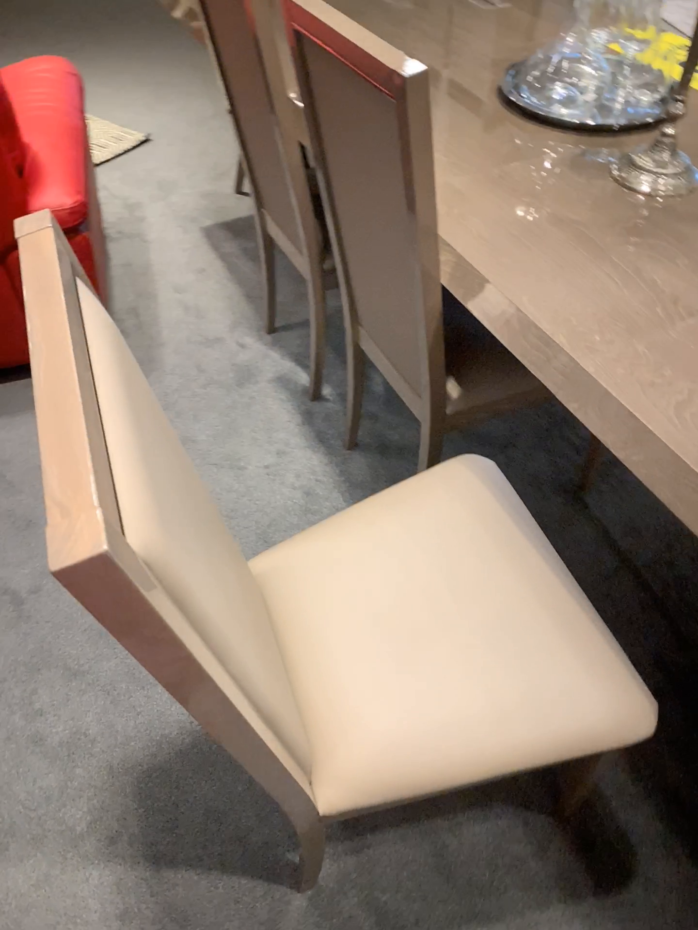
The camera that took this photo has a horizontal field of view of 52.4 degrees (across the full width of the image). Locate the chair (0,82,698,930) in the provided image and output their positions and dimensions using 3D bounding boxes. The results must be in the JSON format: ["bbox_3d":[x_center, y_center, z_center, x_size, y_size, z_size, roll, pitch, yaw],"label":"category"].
[{"bbox_3d":[0.055,0.163,0.893,0.586,0.947,0.542,-17,50,-15],"label":"chair"}]
